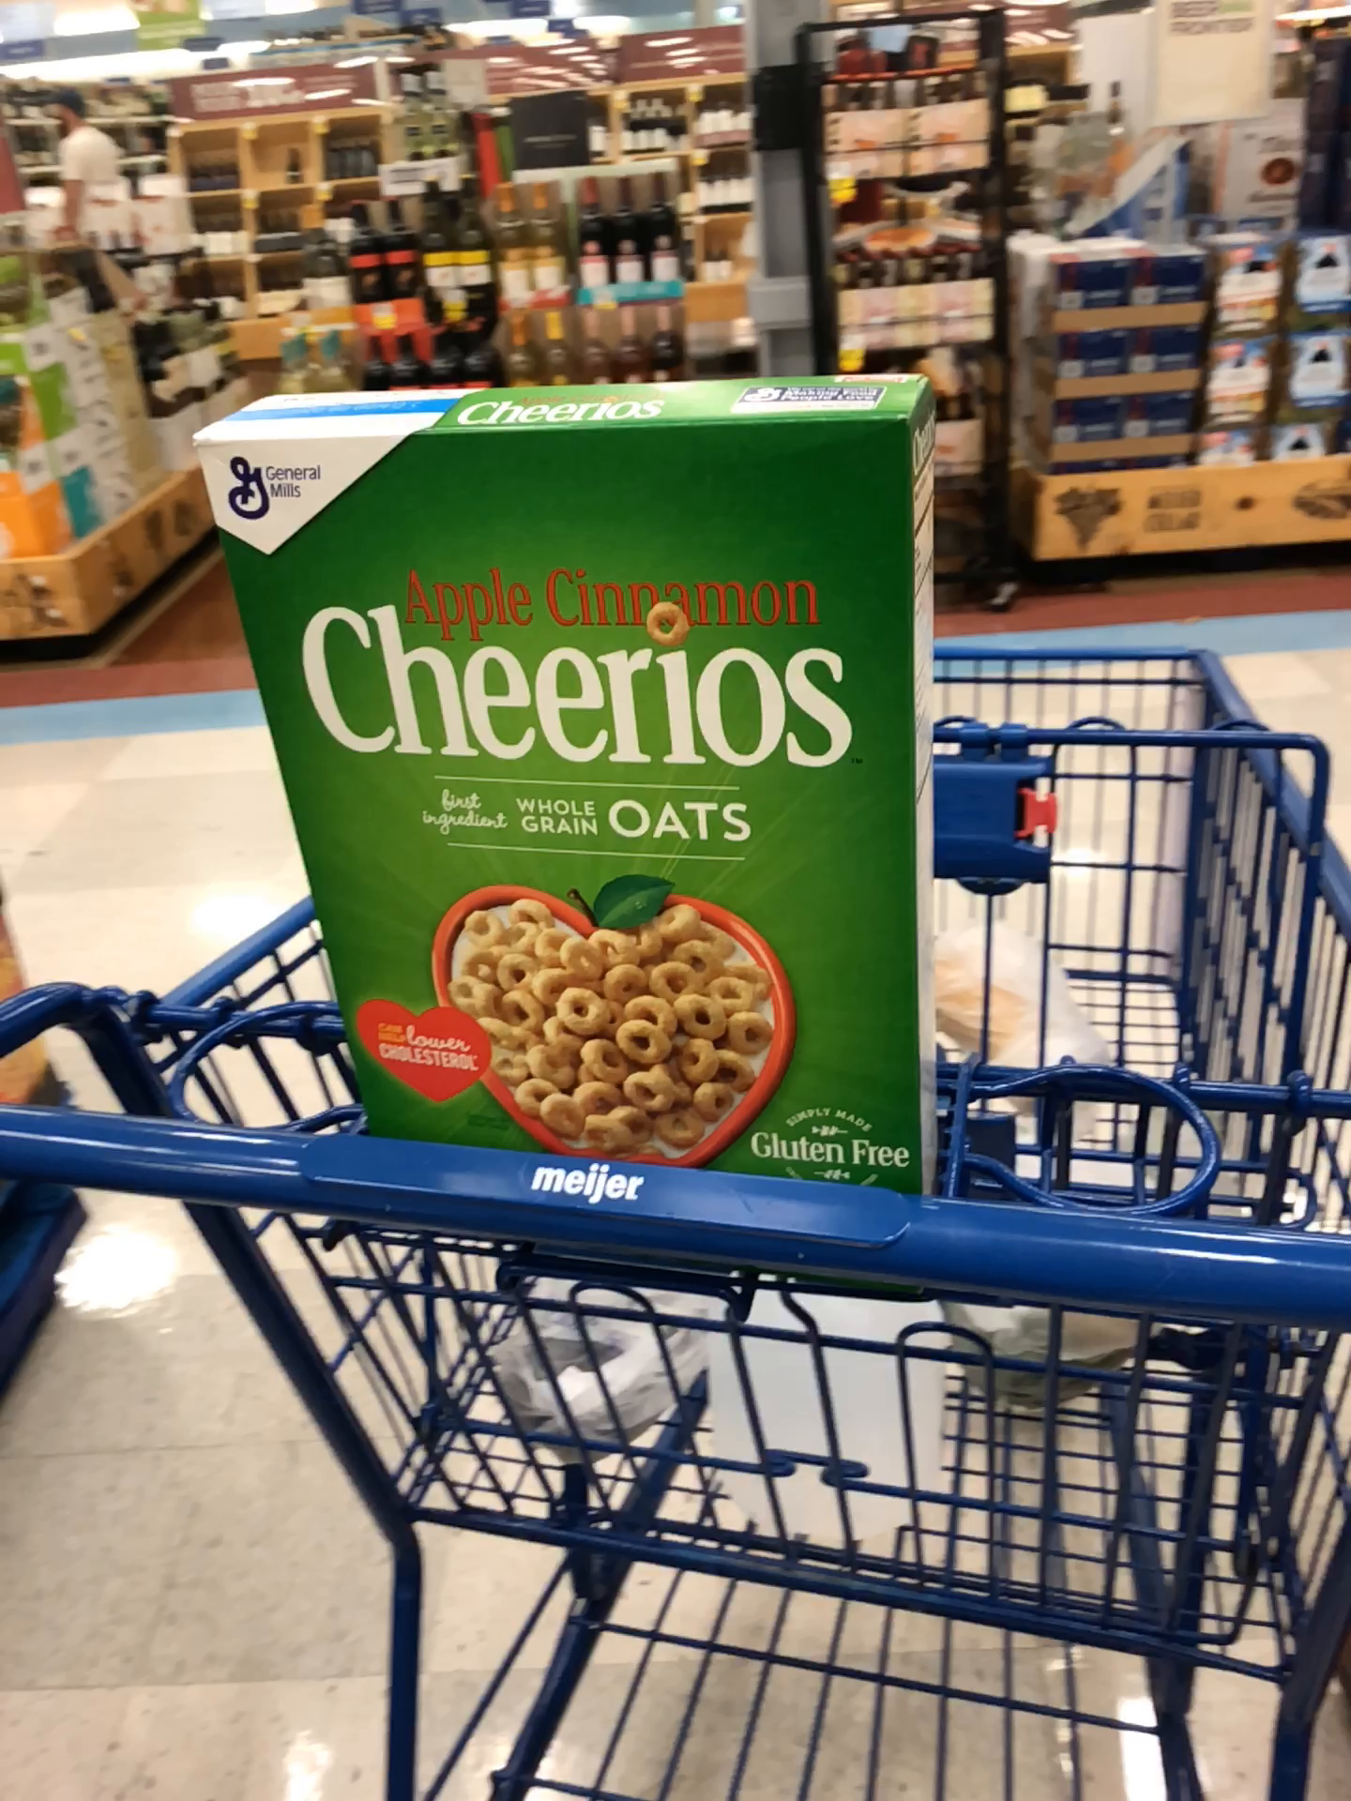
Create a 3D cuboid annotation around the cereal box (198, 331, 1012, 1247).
[{"bbox_3d":[-0.008,-0.023,0.459,0.210,0.269,0.050,2,30,14],"label":"cereal box"}]
